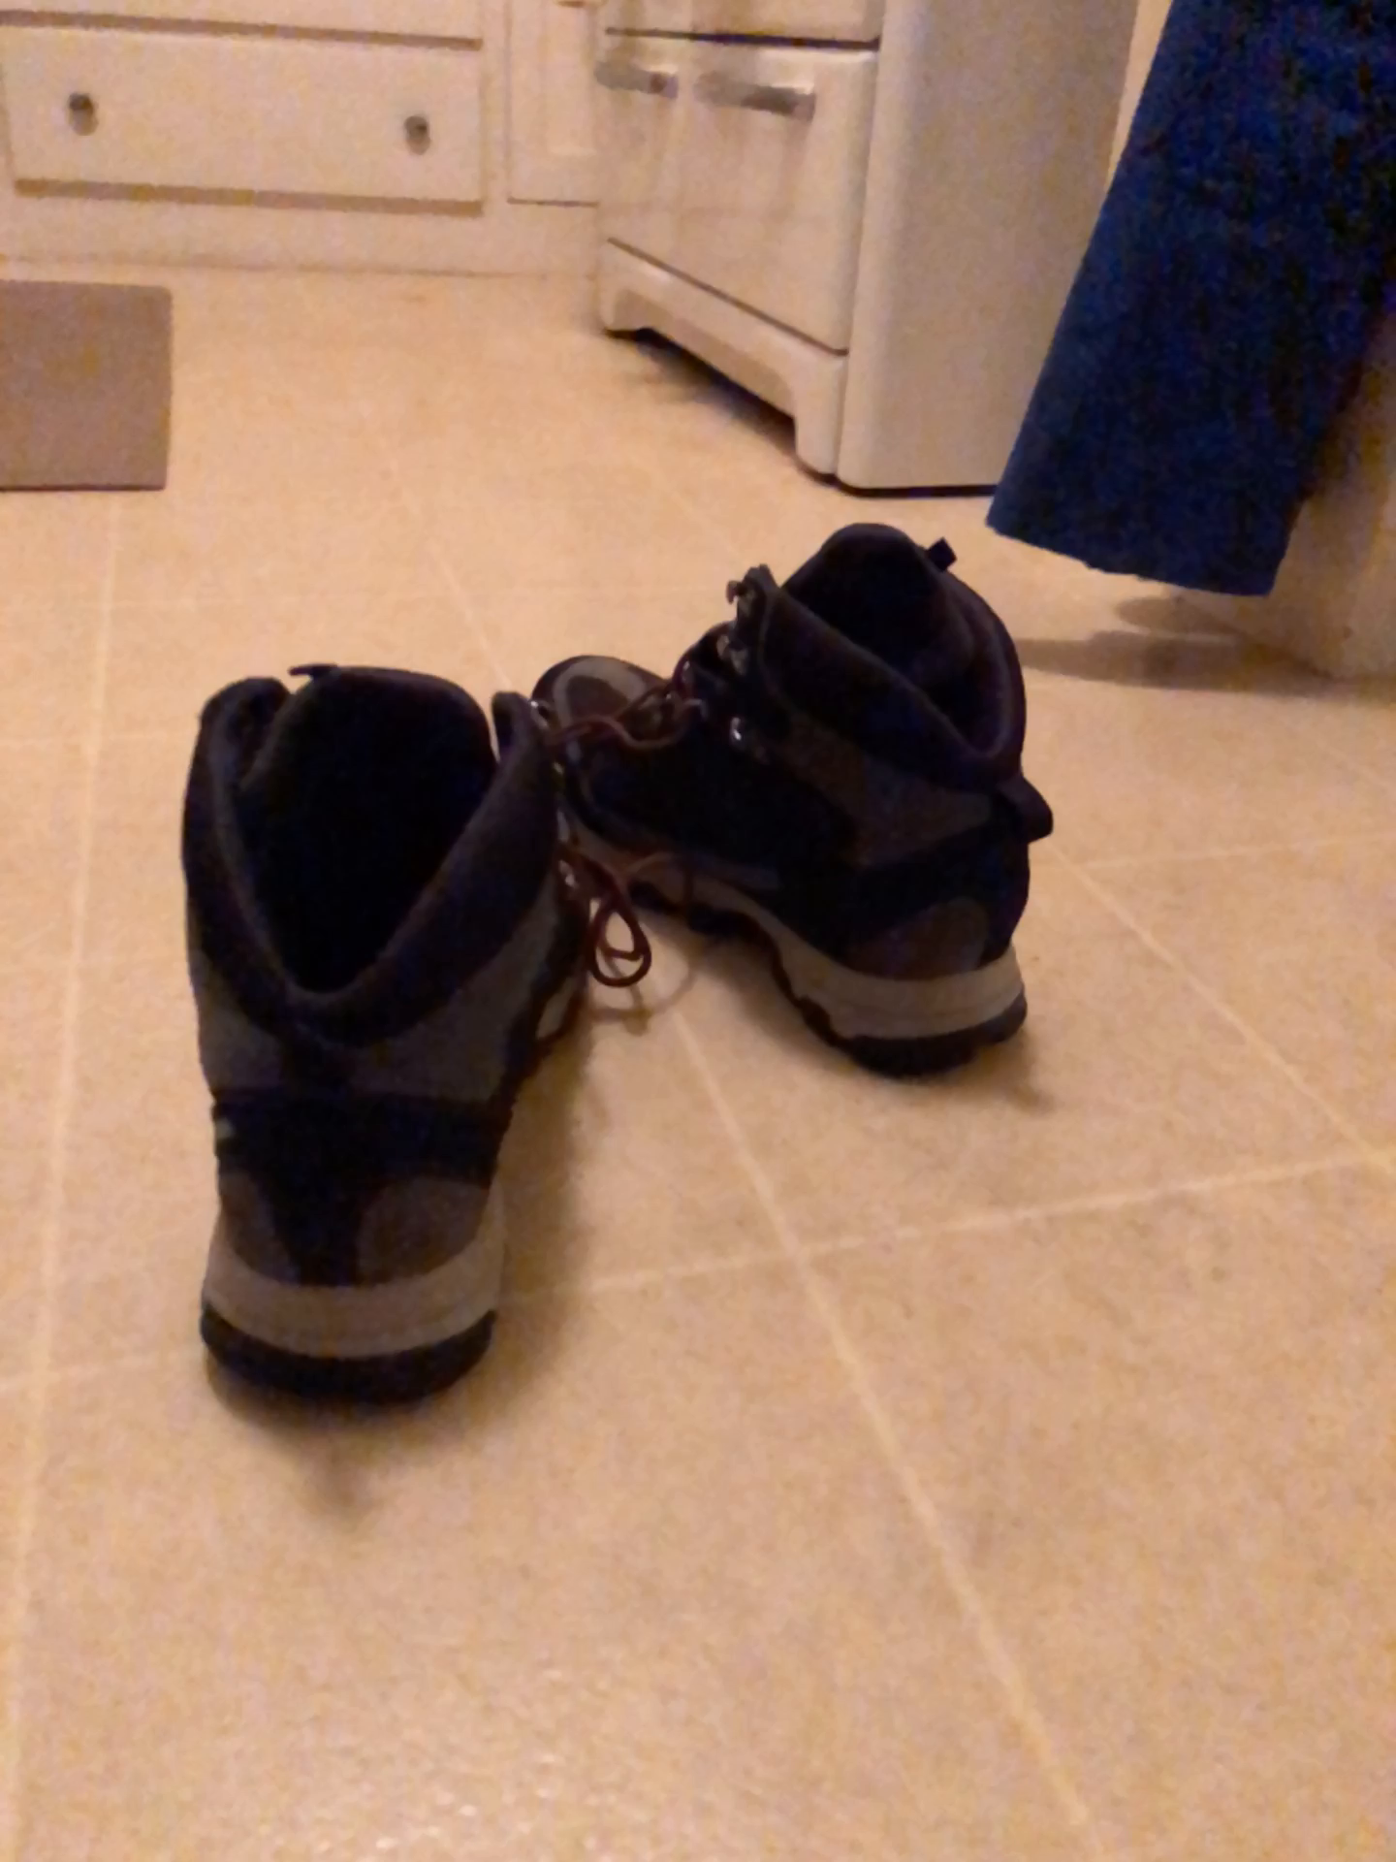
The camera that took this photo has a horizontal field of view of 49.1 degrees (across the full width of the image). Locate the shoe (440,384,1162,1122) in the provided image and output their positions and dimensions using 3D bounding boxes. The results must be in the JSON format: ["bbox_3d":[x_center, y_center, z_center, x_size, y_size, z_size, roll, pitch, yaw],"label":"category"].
[{"bbox_3d":[0.017,-0.095,0.641,0.116,0.195,0.300,-17,36,-33],"label":"shoe"}]

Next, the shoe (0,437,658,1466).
[{"bbox_3d":[-0.097,-0.023,0.501,0.126,0.195,0.311,5,30,2],"label":"shoe"}]
